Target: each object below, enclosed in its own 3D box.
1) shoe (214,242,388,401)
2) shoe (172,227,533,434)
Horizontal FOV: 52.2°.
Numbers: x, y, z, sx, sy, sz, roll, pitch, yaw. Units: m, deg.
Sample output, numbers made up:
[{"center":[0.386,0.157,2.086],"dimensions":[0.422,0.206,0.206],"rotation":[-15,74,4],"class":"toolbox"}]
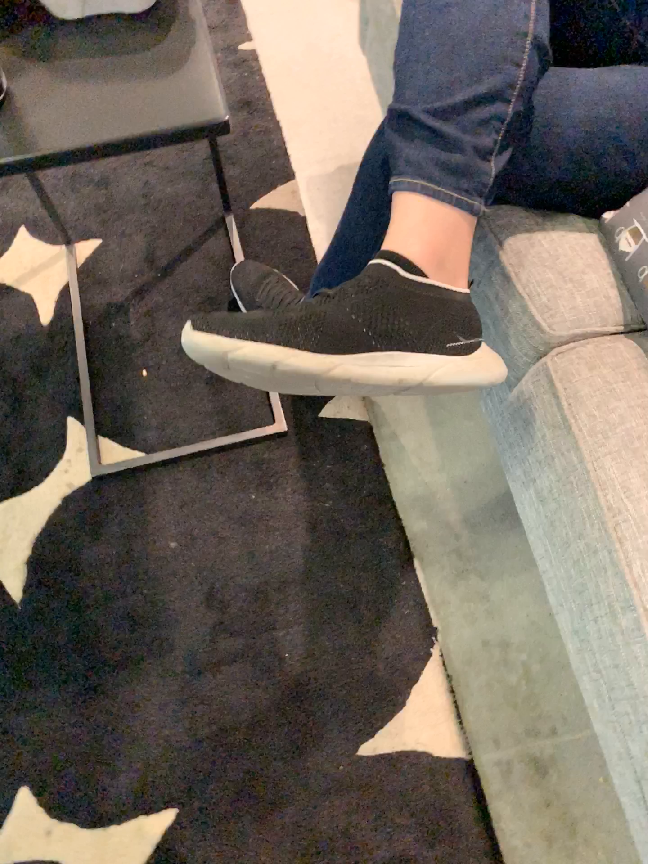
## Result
[{"center":[-0.043,-0.200,1.174],"dimensions":[0.304,0.074,0.116],"rotation":[40,72,18],"class":"shoe"},{"center":[0.017,-0.087,0.573],"dimensions":[0.276,0.112,0.132],"rotation":[-6,79,-15],"class":"shoe"}]
